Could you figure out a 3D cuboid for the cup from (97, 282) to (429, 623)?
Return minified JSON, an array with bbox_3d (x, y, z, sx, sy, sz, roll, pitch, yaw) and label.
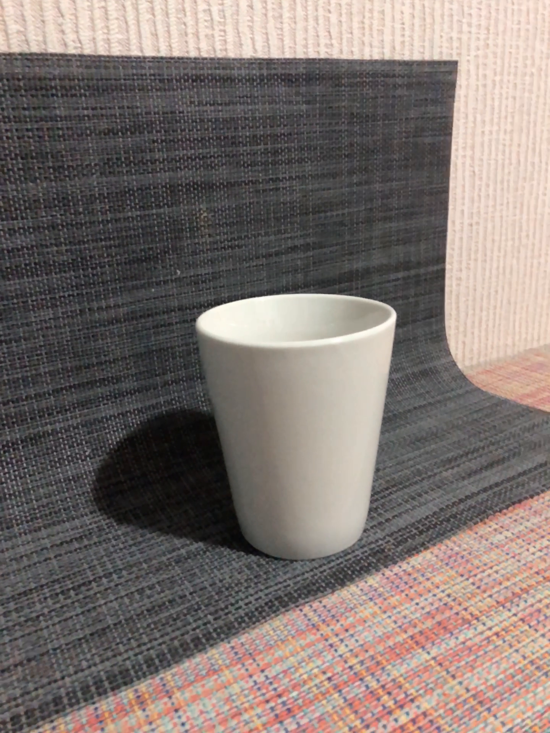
[{"bbox_3d":[0.004,0.023,0.269,0.096,0.096,0.112,7,21,28],"label":"cup"}]
